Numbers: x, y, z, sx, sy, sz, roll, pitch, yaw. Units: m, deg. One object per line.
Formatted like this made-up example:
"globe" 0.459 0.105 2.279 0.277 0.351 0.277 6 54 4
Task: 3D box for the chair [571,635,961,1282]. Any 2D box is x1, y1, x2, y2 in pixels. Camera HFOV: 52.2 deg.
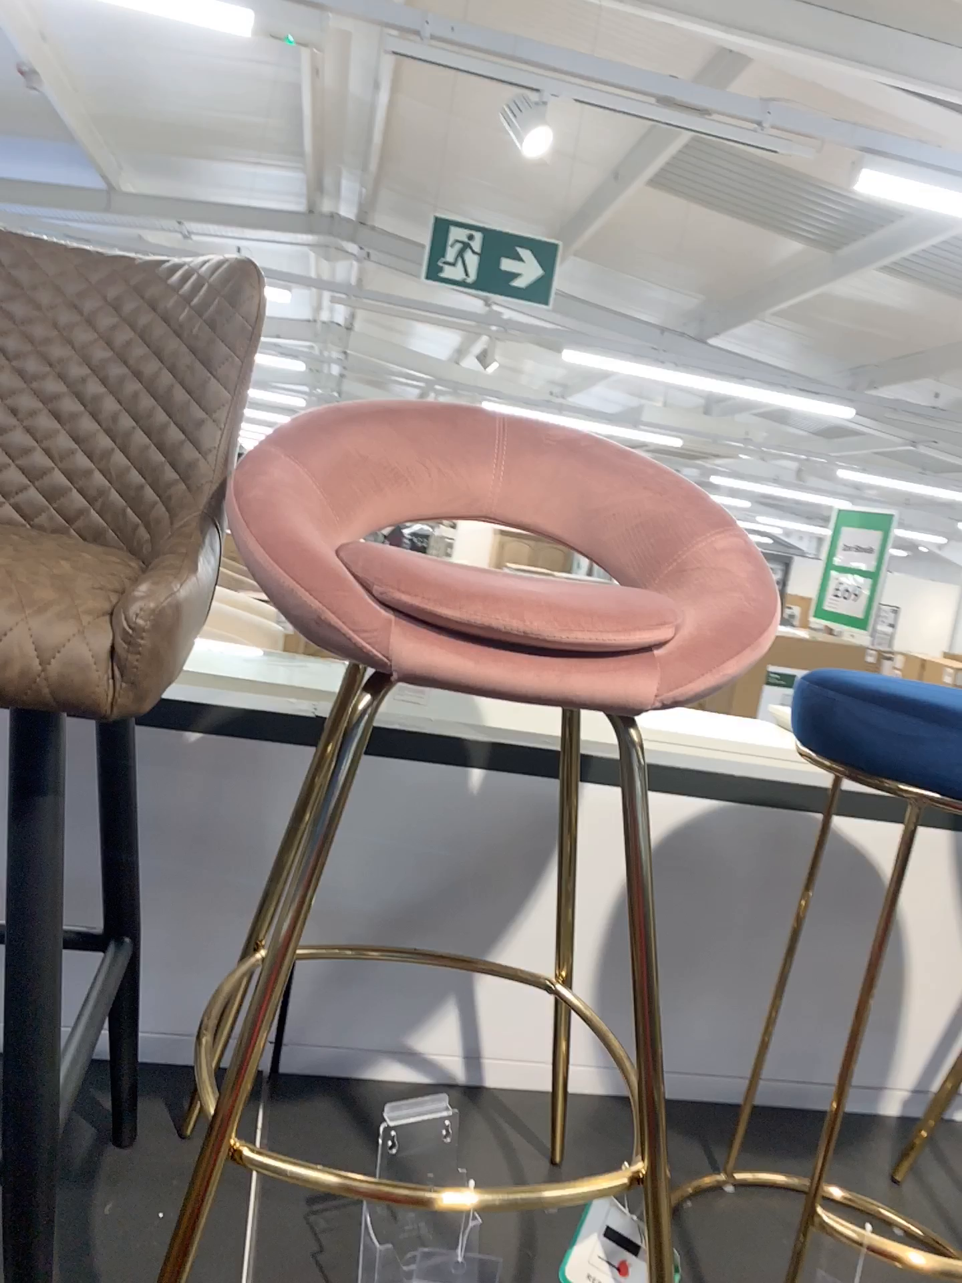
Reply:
"chair" 0.406 0.360 0.953 0.462 0.619 0.432 9 5 -6

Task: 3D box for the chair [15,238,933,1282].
"chair" -0.031 0.181 0.900 0.492 0.859 0.462 9 5 -6

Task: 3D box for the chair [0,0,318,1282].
"chair" -0.467 0.071 0.801 0.502 0.959 0.452 9 5 -13
